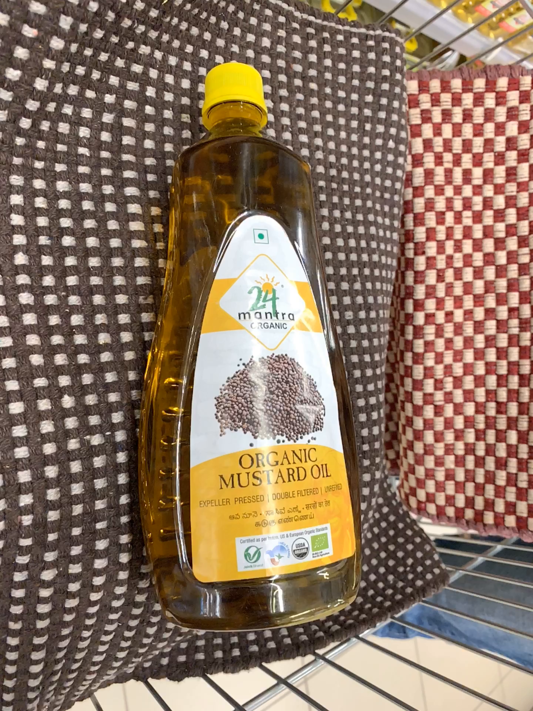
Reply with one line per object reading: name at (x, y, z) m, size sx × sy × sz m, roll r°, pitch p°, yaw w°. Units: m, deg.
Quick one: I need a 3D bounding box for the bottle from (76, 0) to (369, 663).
bottle at (-0.020, -0.019, 0.241) m, size 0.110 × 0.060 × 0.250 m, roll -1°, pitch 91°, yaw -25°
